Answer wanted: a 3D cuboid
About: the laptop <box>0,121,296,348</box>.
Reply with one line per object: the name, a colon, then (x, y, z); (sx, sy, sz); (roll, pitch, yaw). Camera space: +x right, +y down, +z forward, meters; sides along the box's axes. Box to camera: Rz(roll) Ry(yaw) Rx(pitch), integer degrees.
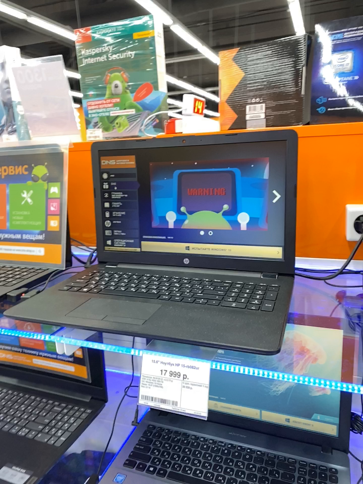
laptop: (-0.032, -0.039, 0.555); (0.369, 0.231, 0.272); (2, 13, 19)
